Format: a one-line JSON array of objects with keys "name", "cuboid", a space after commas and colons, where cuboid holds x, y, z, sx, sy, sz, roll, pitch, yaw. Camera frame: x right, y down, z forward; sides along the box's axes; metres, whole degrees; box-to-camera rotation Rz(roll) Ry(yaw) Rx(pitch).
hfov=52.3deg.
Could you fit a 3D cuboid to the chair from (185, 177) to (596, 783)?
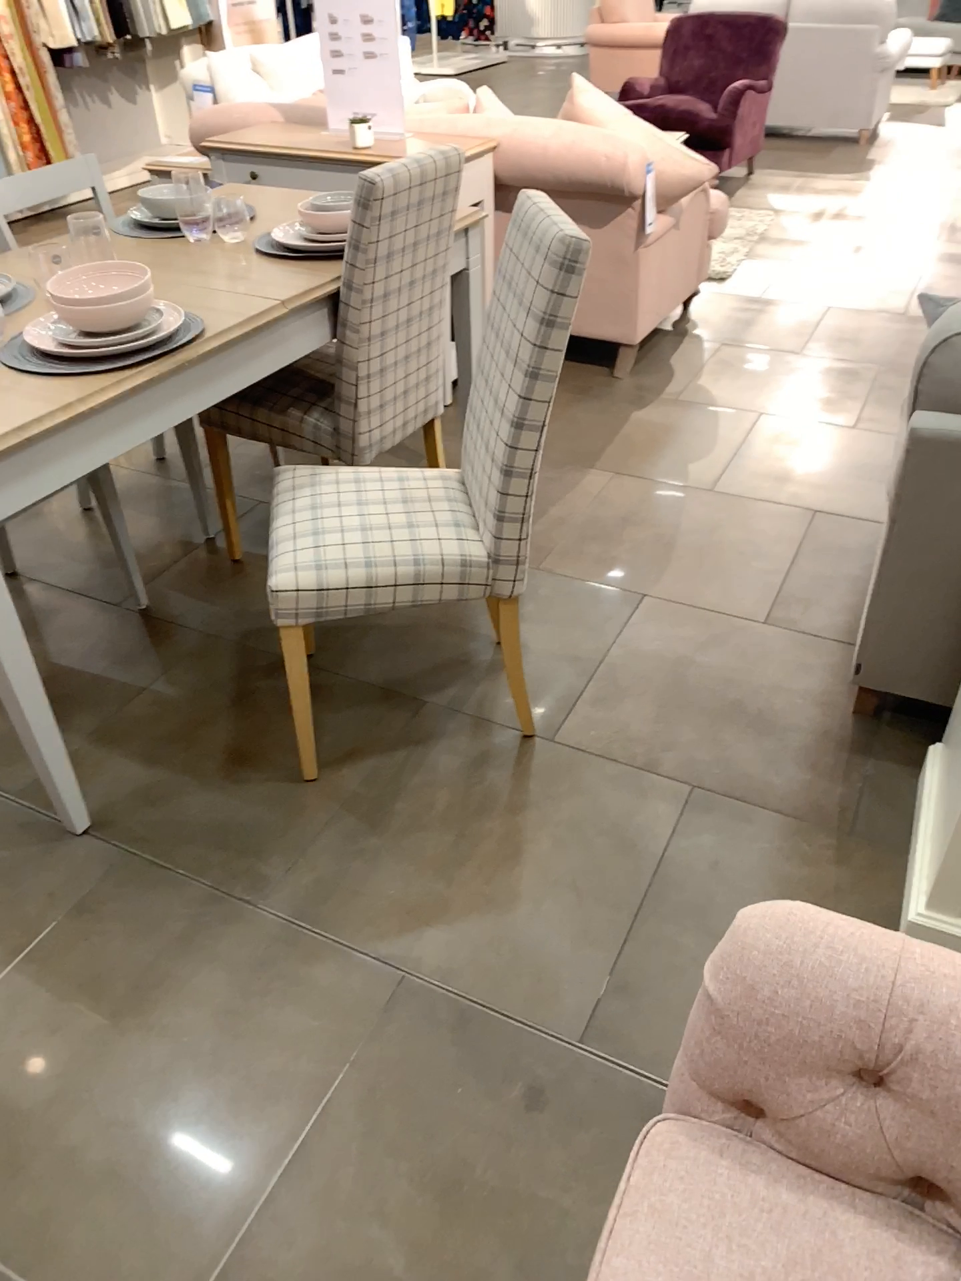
[{"name": "chair", "cuboid": [-0.144, -0.273, 1.785, 0.566, 0.937, 0.432, -8, 36, -8]}]
